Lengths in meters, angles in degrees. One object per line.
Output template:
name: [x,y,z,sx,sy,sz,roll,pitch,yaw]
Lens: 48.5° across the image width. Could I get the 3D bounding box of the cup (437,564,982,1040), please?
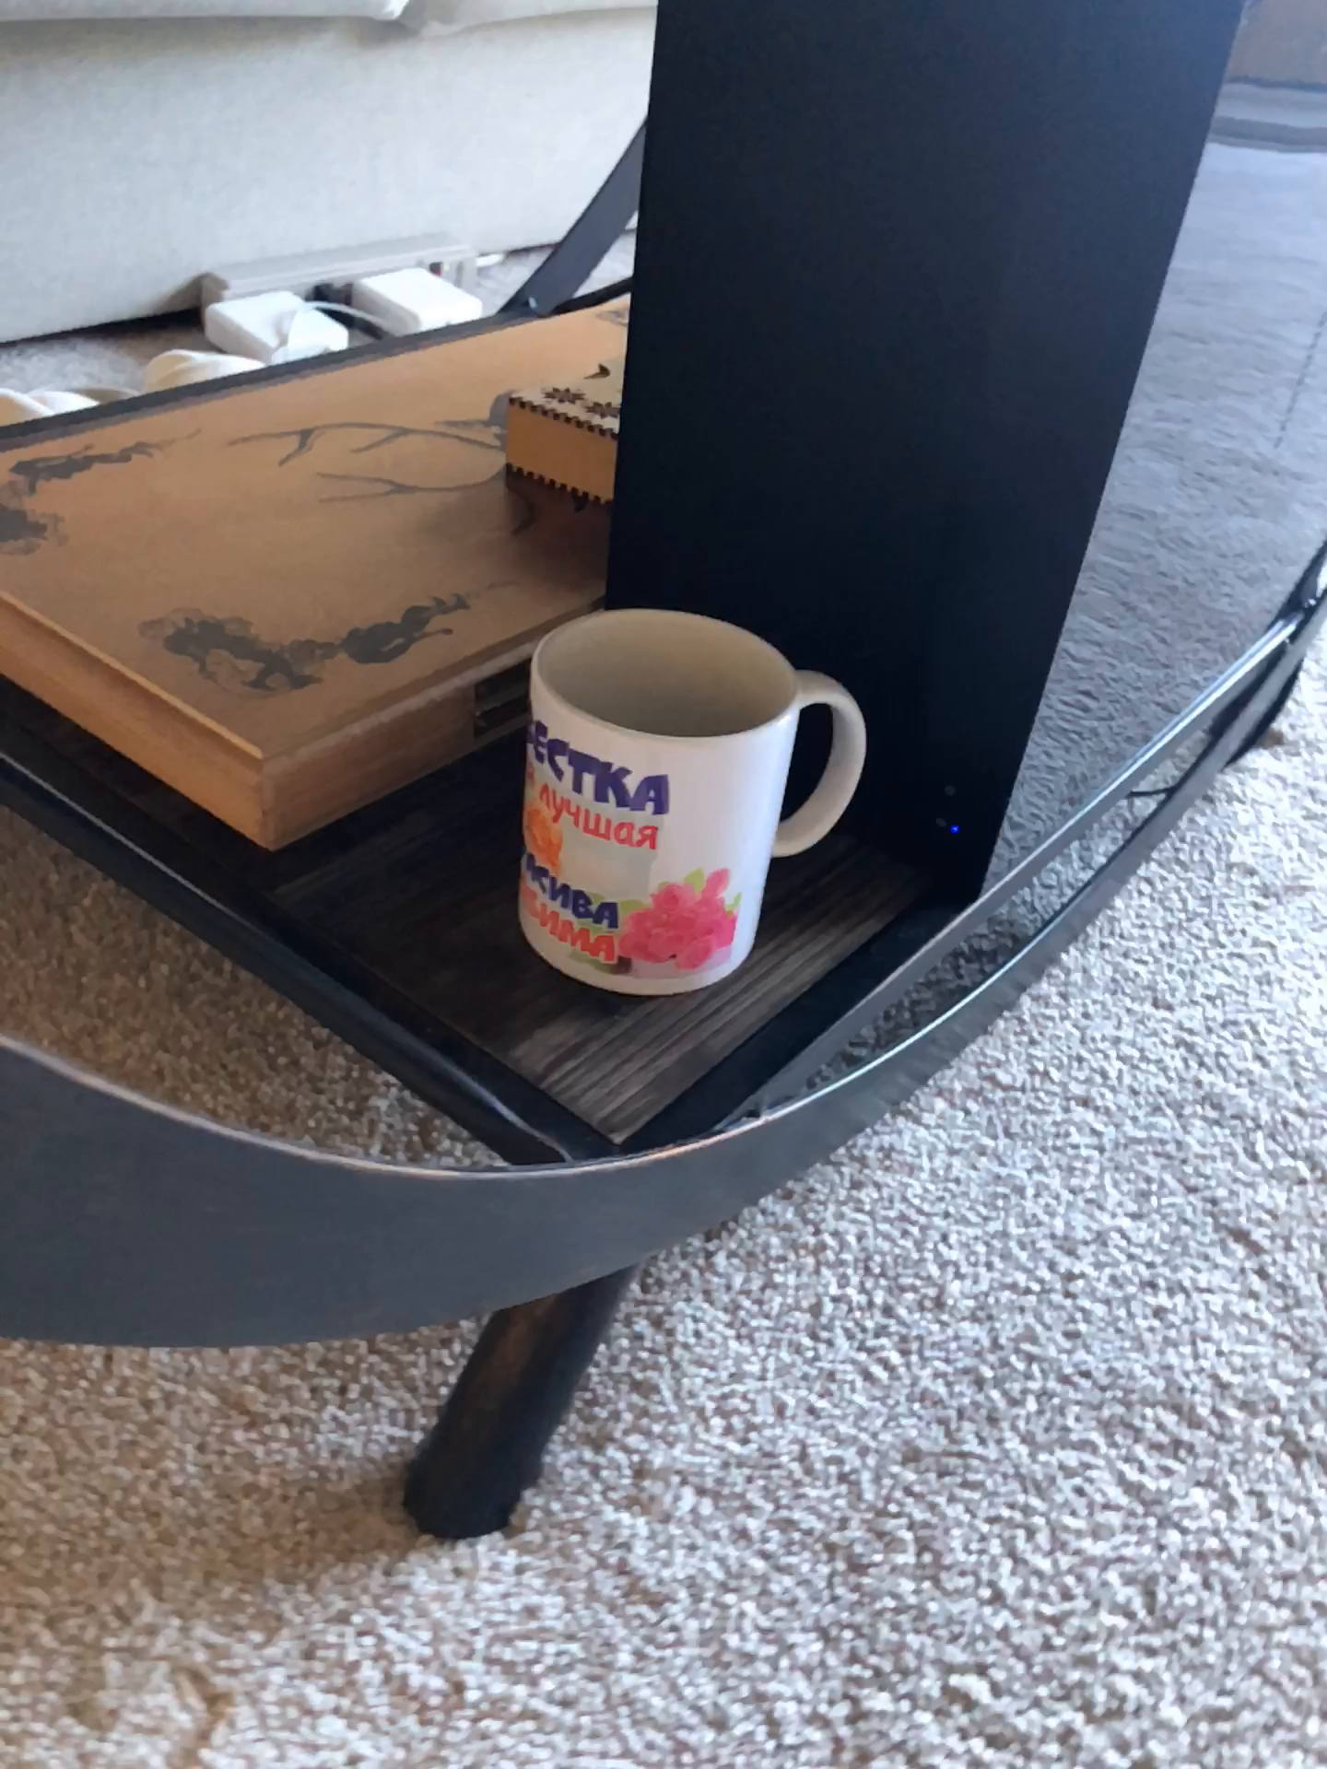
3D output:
cup: [0.010,-0.032,0.482,0.140,0.099,0.090,-13,41,-26]
